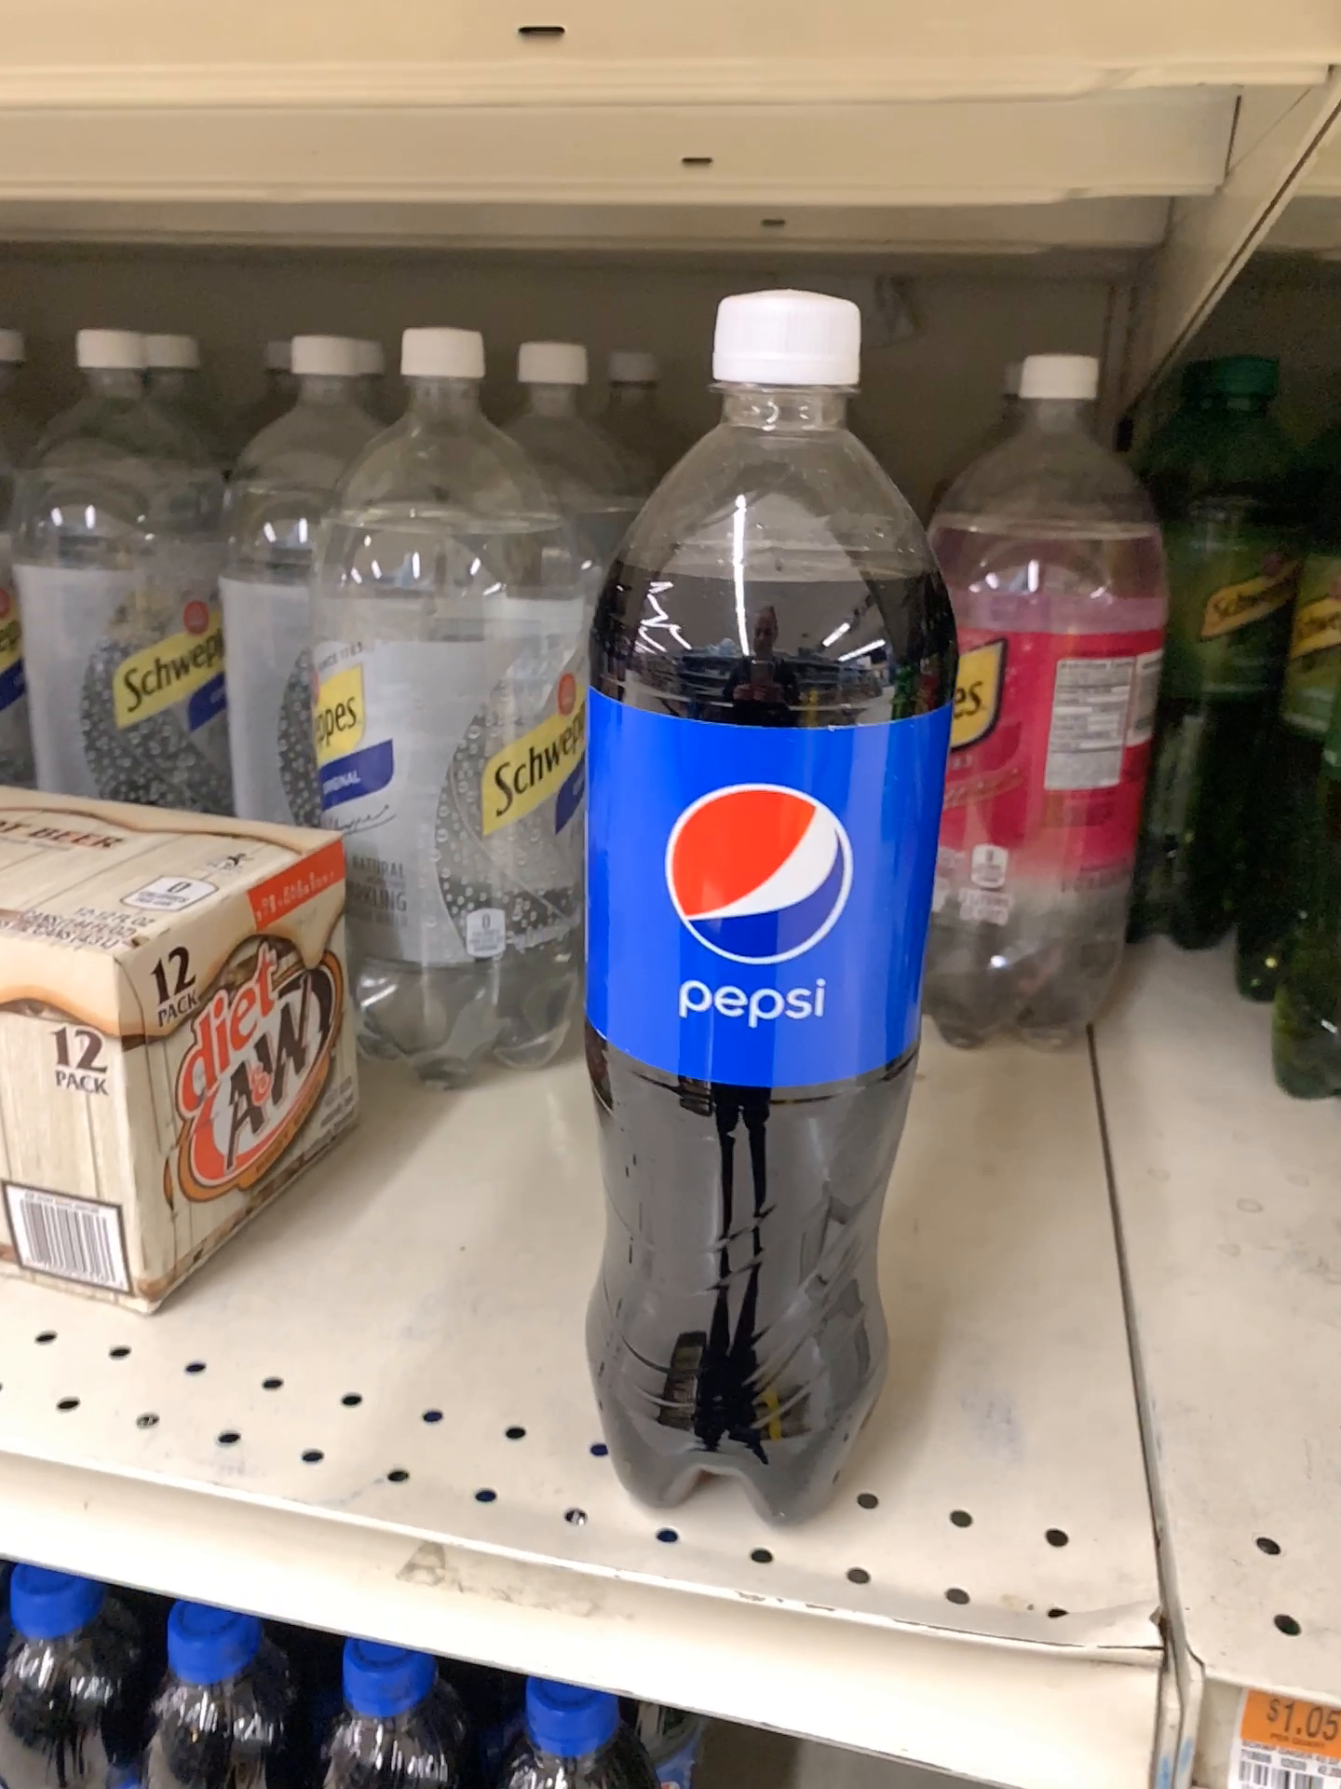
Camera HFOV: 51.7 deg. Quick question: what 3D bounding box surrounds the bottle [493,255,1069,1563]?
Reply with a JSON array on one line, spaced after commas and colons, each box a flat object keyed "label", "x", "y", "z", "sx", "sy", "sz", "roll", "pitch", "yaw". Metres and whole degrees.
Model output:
[{"label": "bottle", "x": 0.021, "y": 0.006, "z": 0.329, "sx": 0.101, "sy": 0.279, "sz": 0.090, "roll": 5, "pitch": 20, "yaw": 9}]
